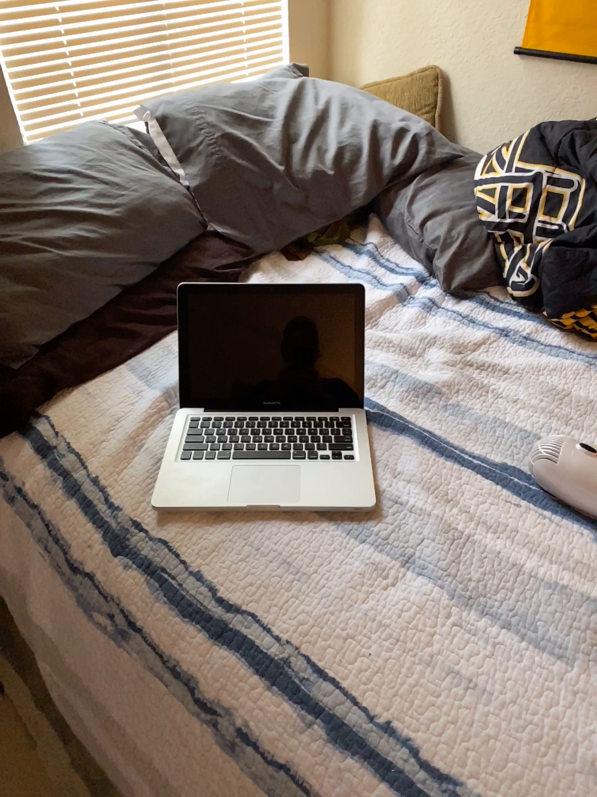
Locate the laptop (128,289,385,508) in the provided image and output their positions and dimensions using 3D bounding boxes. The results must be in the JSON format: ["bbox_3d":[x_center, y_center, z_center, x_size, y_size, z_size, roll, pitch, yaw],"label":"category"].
[{"bbox_3d":[-0.050,-0.018,0.946,0.319,0.169,0.348,0,36,2],"label":"laptop"}]
